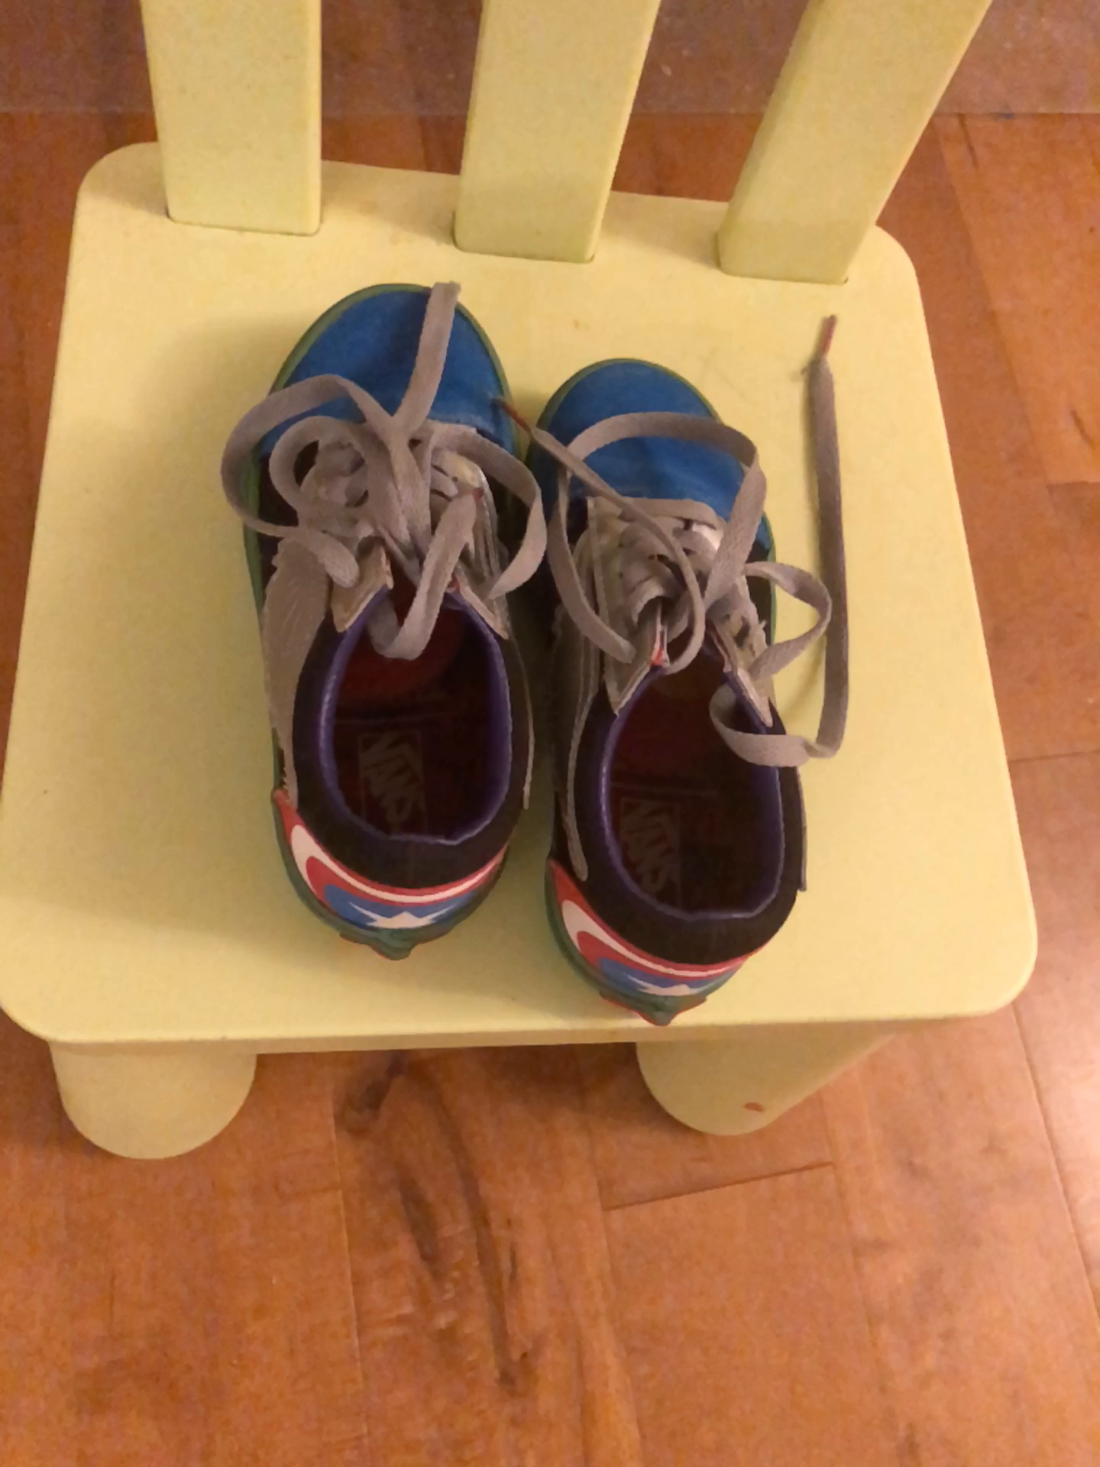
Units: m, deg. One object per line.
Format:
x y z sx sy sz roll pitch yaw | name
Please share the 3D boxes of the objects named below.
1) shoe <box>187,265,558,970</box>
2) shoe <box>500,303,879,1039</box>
-0.050 -0.031 0.365 0.090 0.080 0.190 3 71 -9 | shoe
0.031 -0.015 0.341 0.080 0.070 0.190 3 71 -9 | shoe
